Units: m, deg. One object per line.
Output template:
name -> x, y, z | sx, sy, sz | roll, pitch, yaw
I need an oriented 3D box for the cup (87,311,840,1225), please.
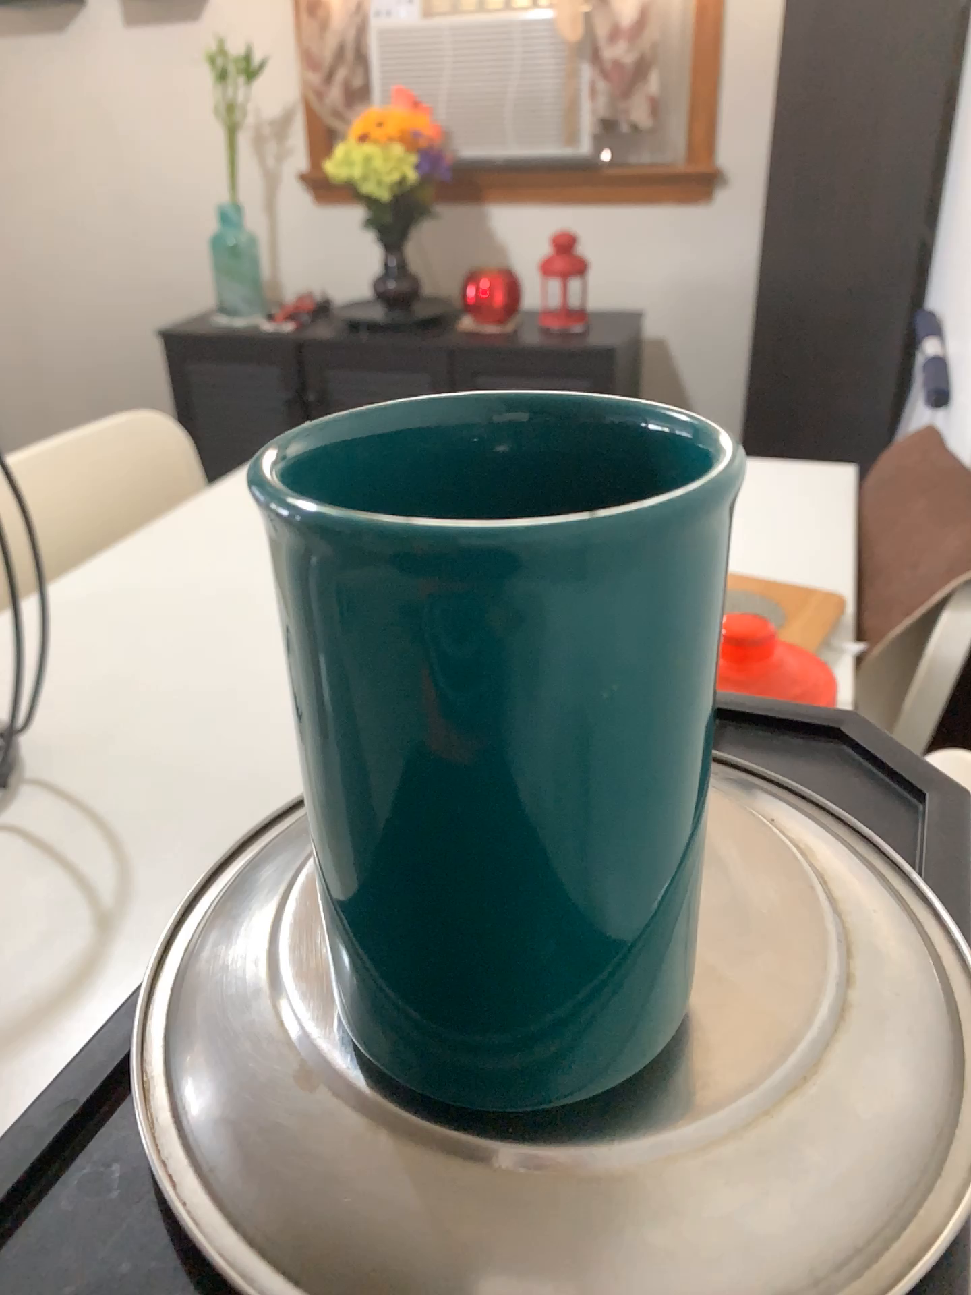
cup -> -0.012, 0.007, 0.202 | 0.080, 0.119, 0.121 | -17, 31, -28
